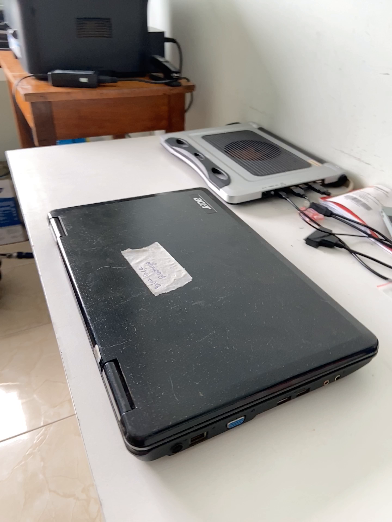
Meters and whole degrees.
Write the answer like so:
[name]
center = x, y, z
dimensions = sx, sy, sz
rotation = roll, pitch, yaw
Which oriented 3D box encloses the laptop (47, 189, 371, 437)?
[laptop]
center = -0.020, 0.006, 0.465
dimensions = 0.239, 0.005, 0.358
rotation = -13, 37, -22
